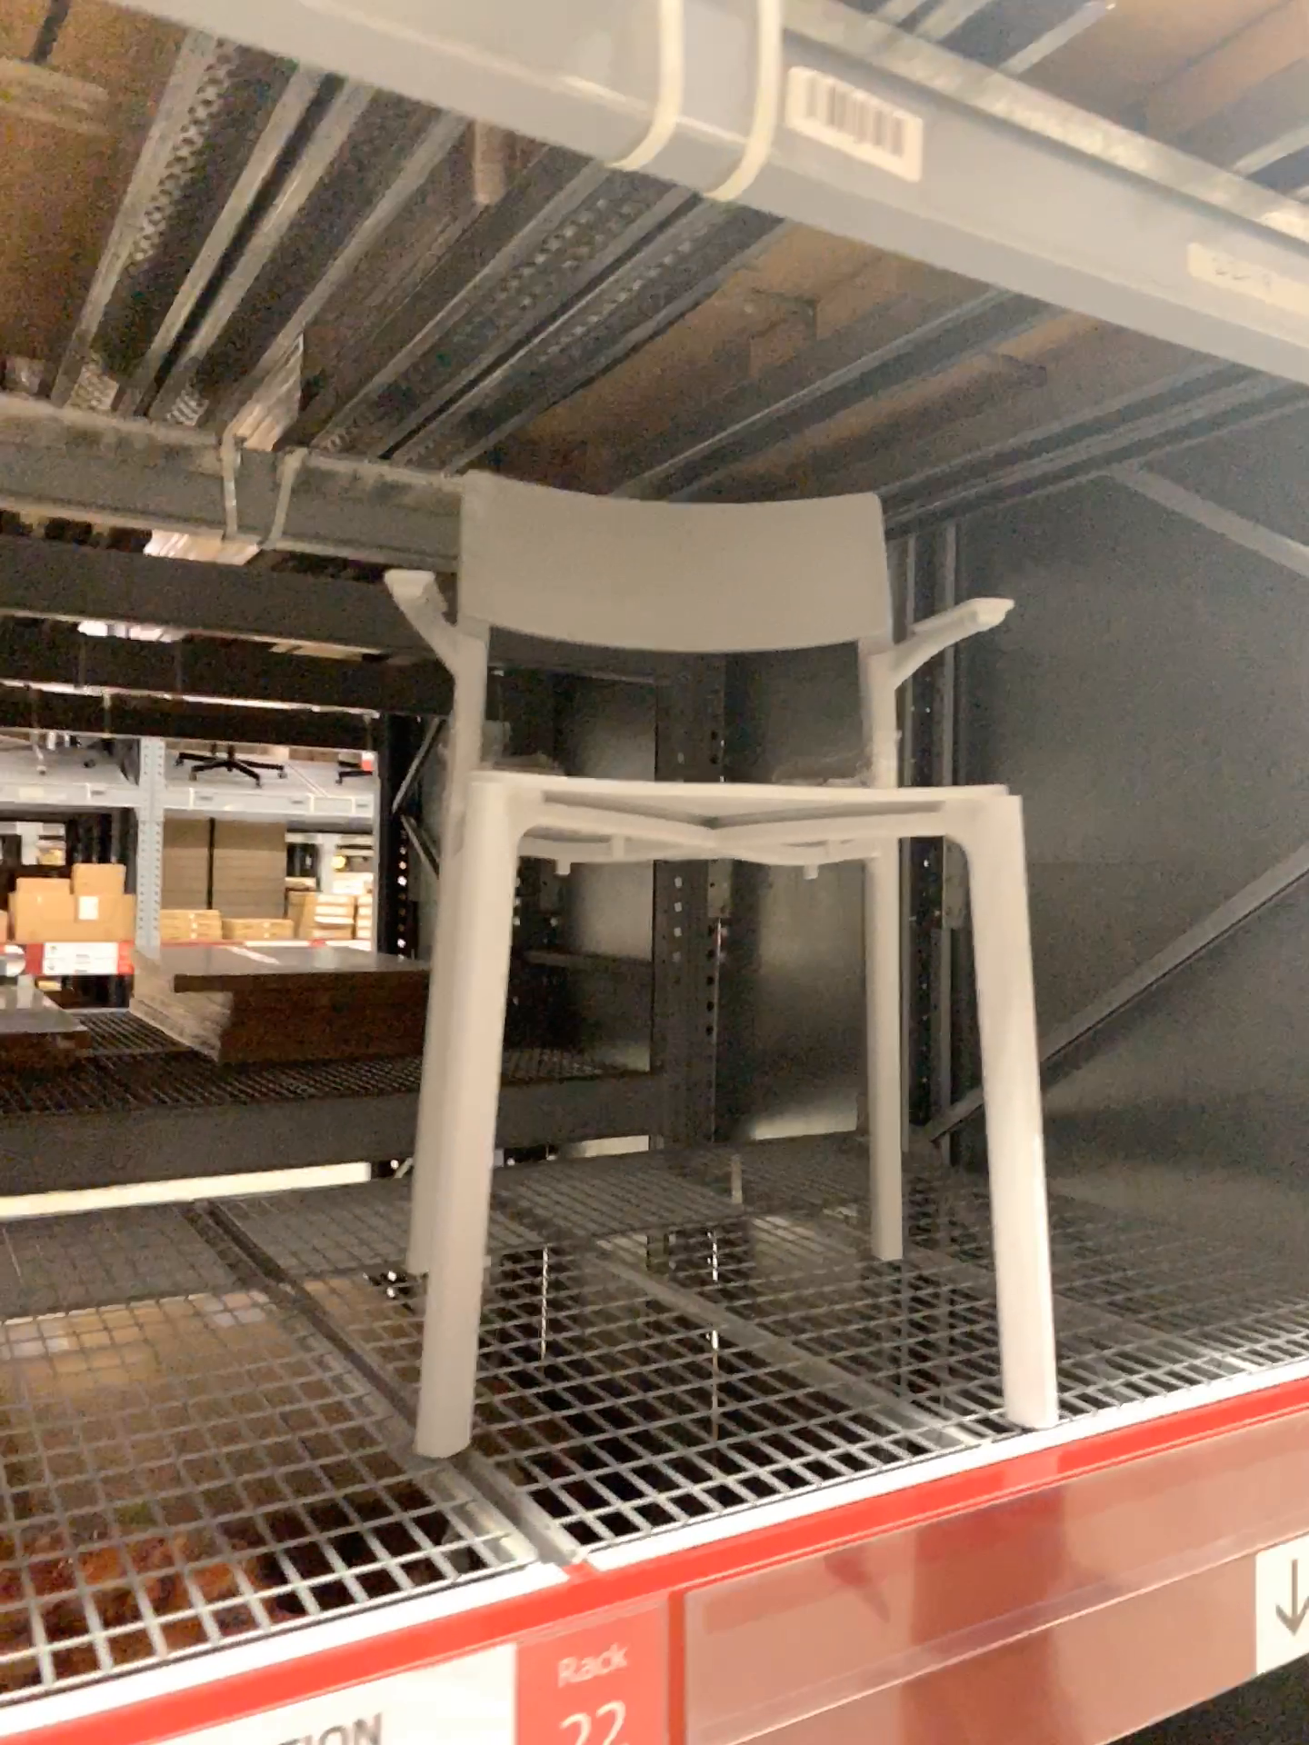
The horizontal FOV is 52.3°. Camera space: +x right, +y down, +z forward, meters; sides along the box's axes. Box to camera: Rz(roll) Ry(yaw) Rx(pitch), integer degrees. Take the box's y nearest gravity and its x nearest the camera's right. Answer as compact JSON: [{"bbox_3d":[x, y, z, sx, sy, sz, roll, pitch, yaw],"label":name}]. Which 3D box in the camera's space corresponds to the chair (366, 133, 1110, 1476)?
[{"bbox_3d":[0.017,-0.039,1.128,0.480,0.820,0.550,1,-1,-11],"label":"chair"}]
